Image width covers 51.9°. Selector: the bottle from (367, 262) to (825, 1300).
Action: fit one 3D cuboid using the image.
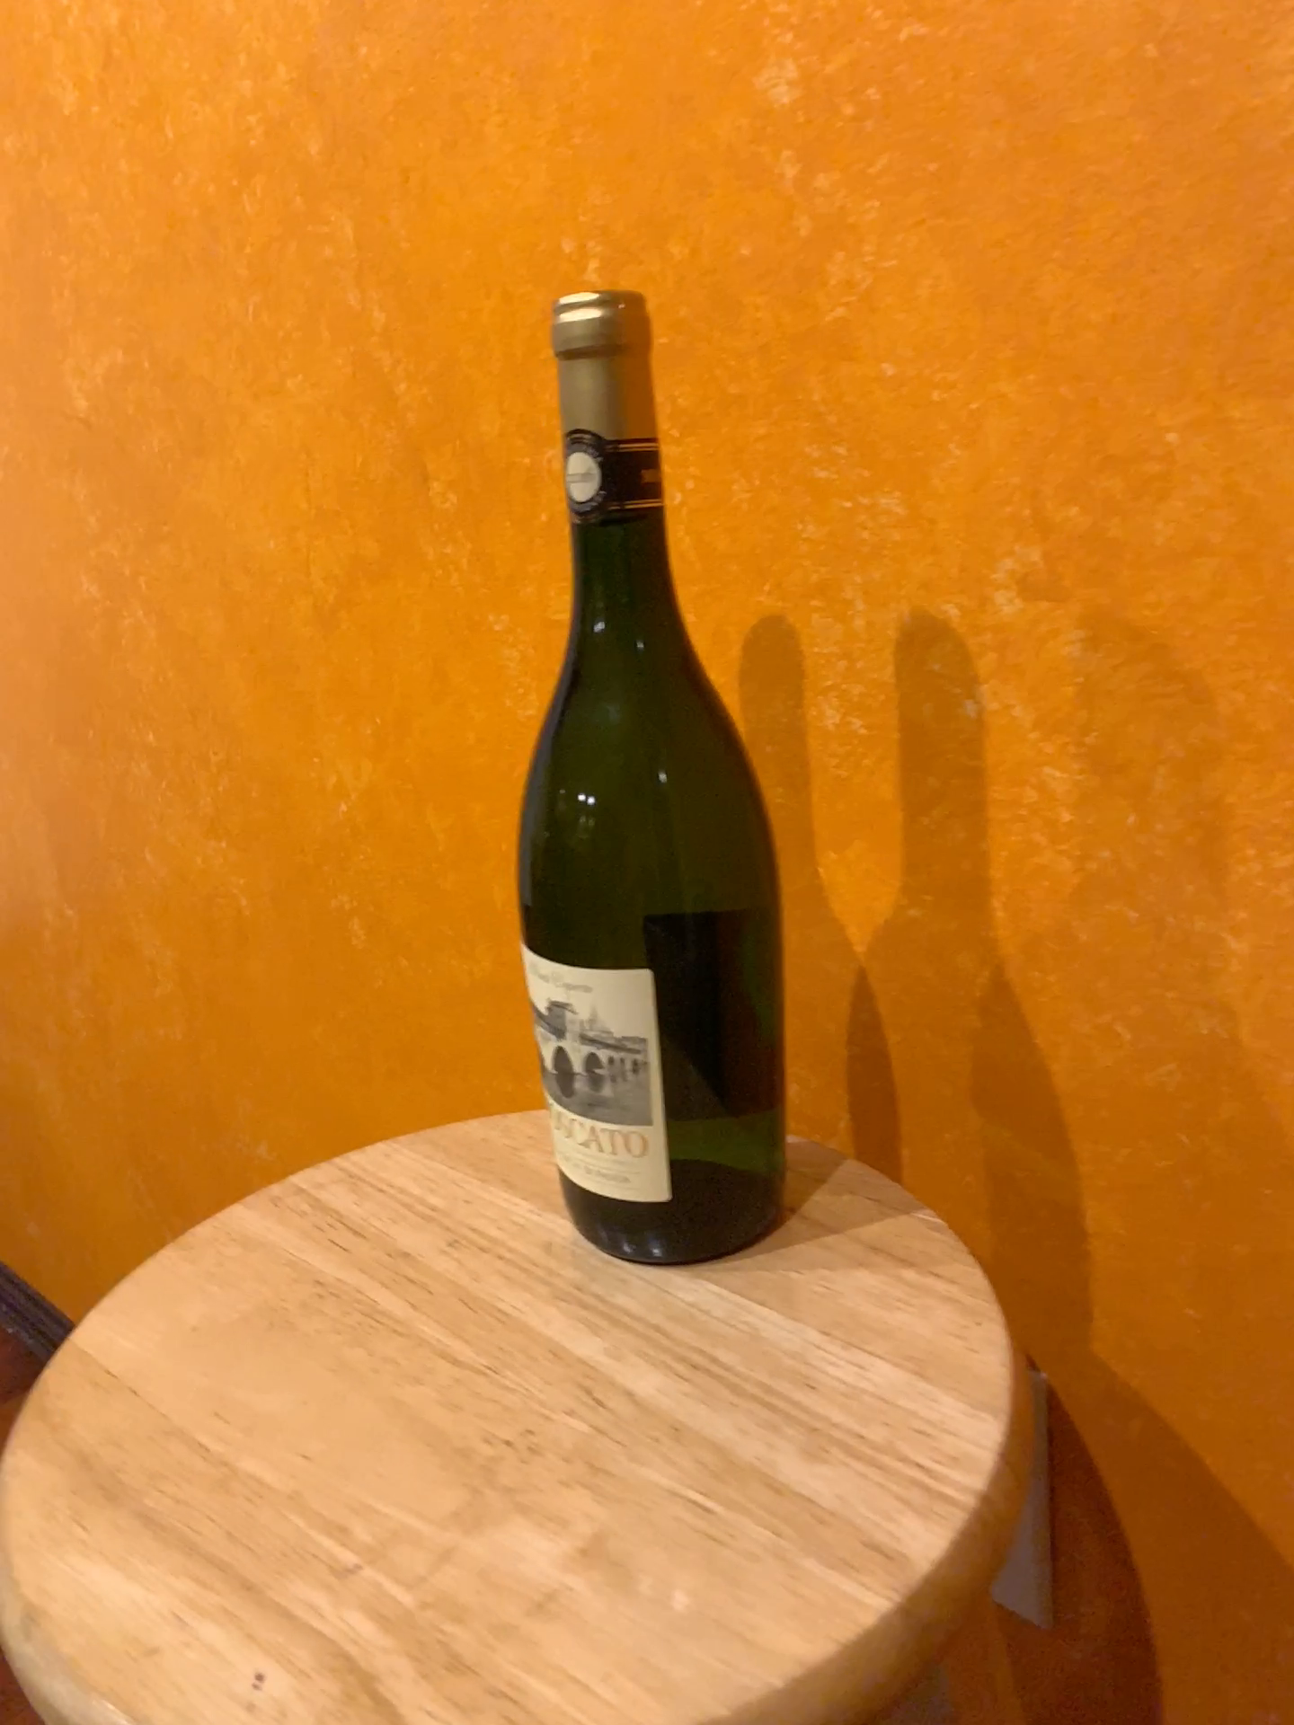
[{"bbox_3d":[-0.011,-0.023,0.414,0.070,0.289,0.090,-19,21,-38],"label":"bottle"}]
